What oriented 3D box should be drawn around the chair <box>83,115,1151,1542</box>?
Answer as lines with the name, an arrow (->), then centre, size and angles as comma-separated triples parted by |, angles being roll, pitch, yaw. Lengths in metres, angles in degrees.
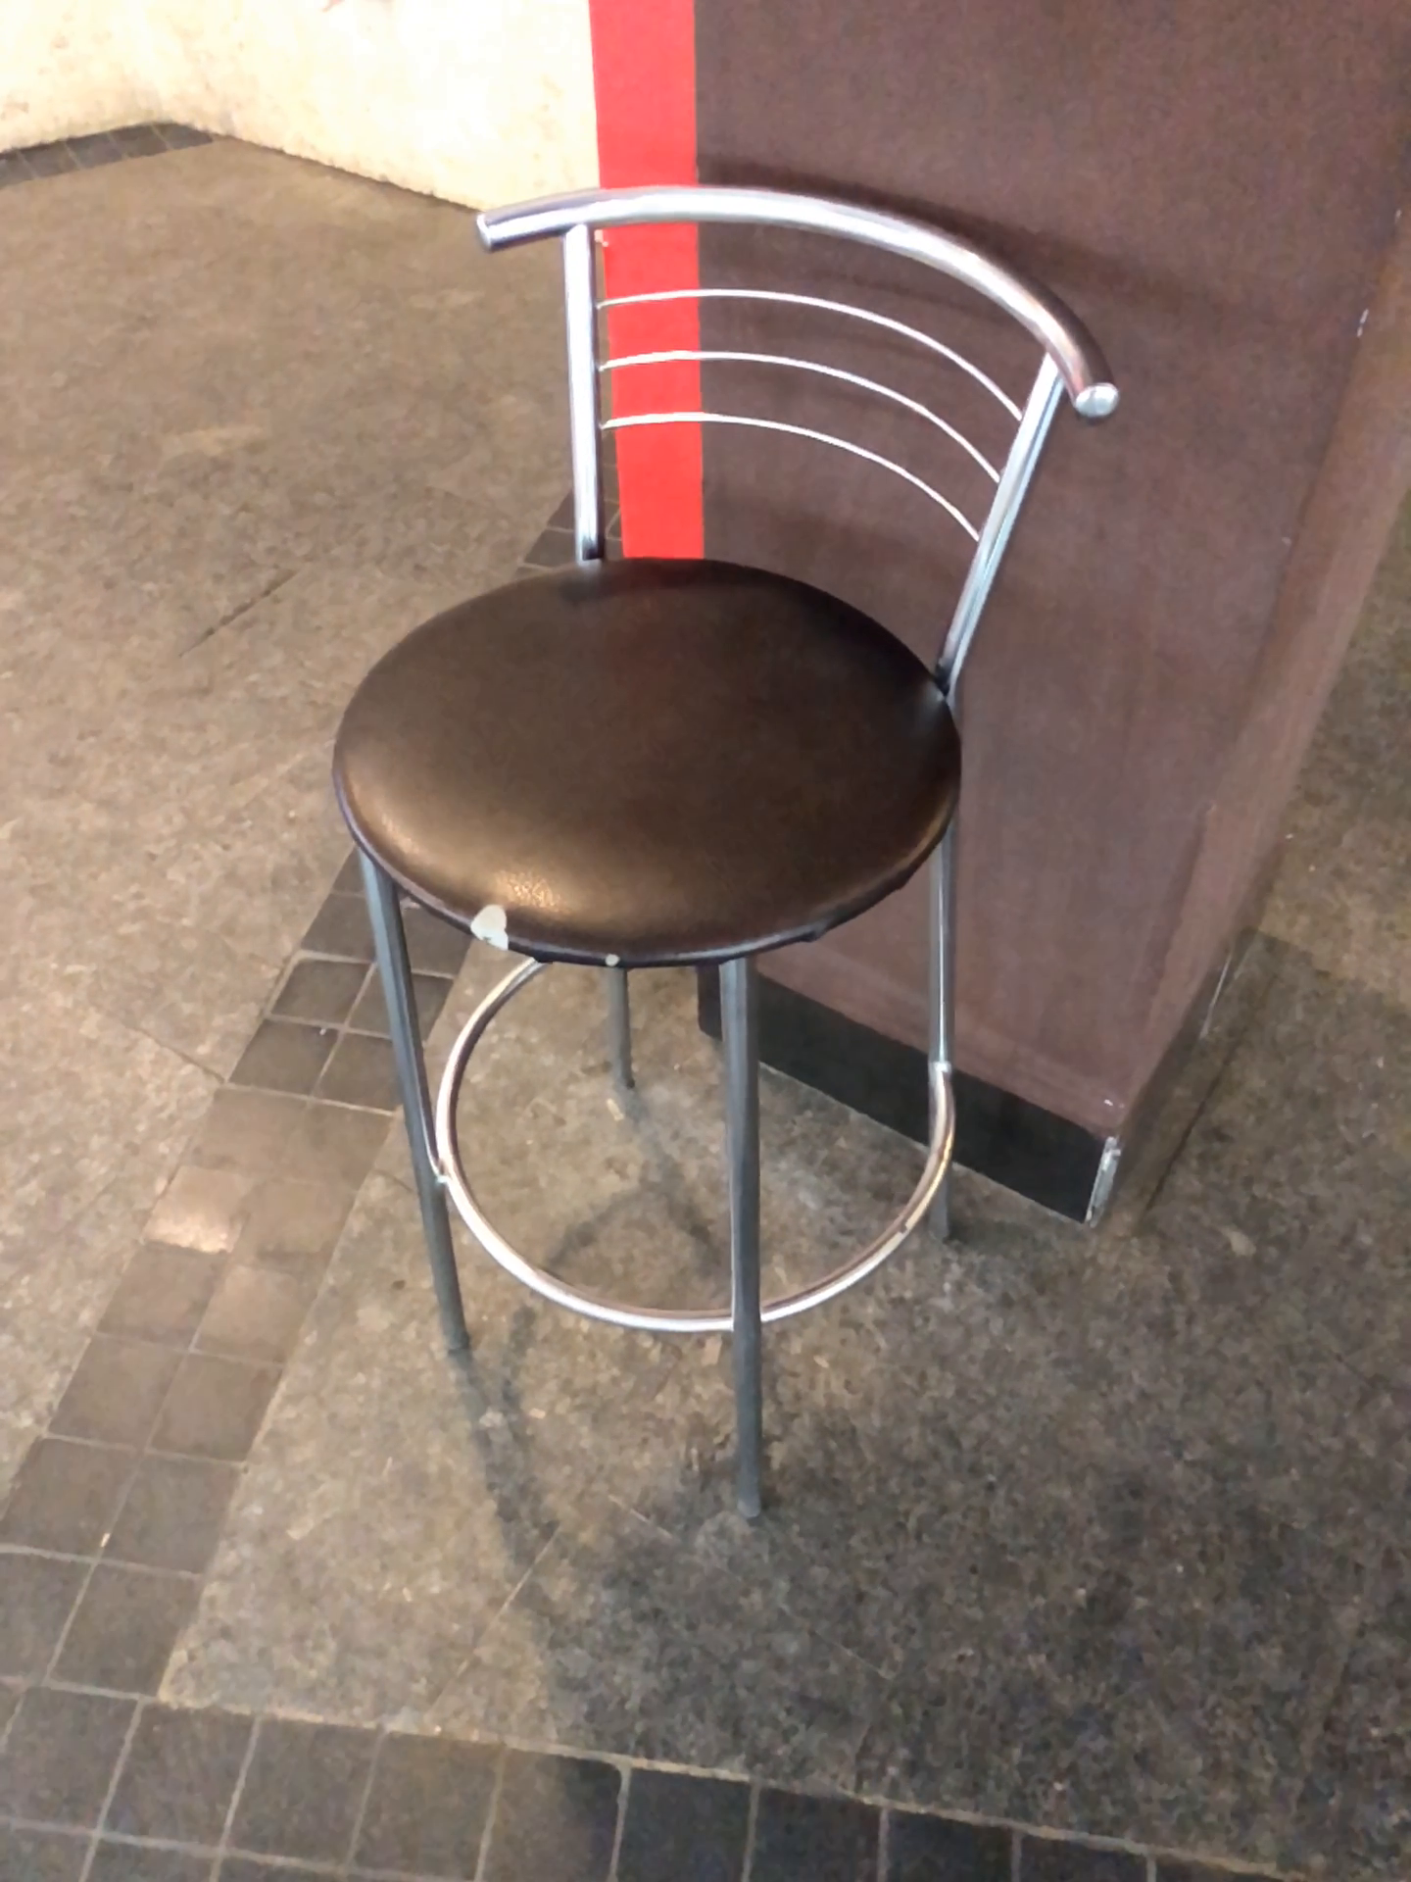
chair -> -0.024, -0.015, 1.157 | 0.410, 0.936, 0.411 | 22, 51, 20
